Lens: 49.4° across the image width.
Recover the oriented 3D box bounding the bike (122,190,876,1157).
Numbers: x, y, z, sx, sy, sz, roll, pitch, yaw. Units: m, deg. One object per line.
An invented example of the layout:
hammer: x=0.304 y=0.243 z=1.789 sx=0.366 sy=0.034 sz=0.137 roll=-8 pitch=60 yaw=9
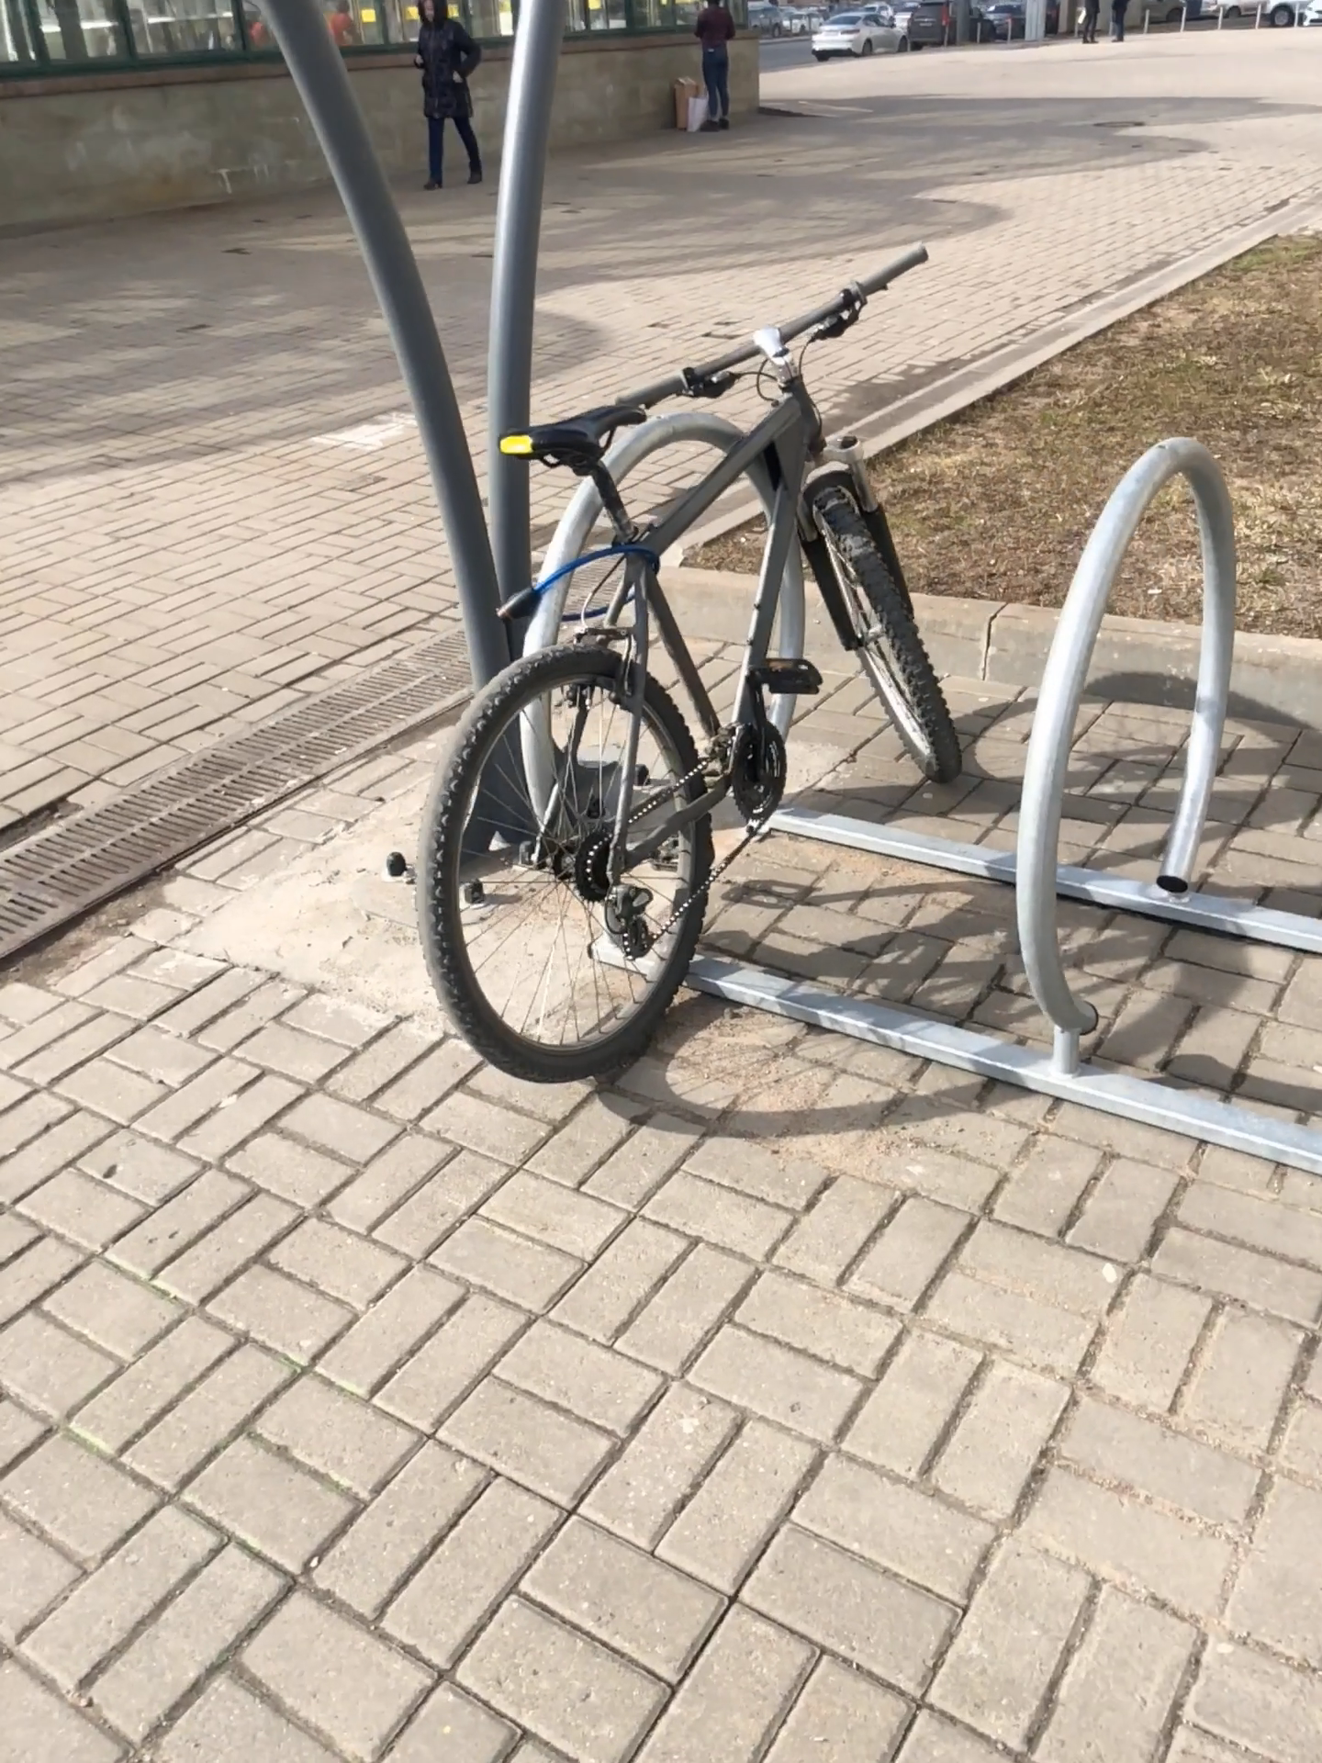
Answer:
bike: x=-0.105 y=-0.540 z=2.496 sx=0.562 sy=0.979 sz=1.618 roll=10 pitch=34 yaw=22
